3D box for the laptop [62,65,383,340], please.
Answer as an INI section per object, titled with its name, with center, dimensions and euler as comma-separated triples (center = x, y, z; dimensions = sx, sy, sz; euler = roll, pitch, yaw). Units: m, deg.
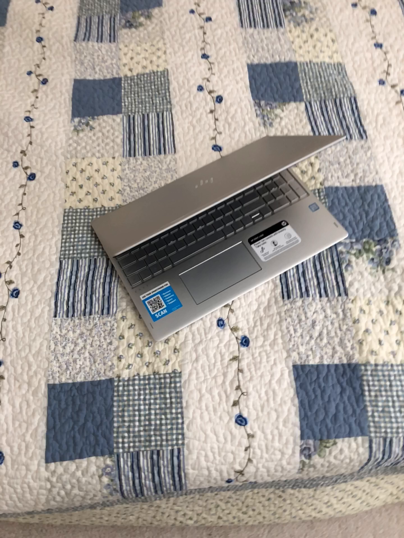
[laptop]
center = 0.023, -0.103, 0.663
dimensions = 0.348, 0.158, 0.242
euler = -28, 65, -11
